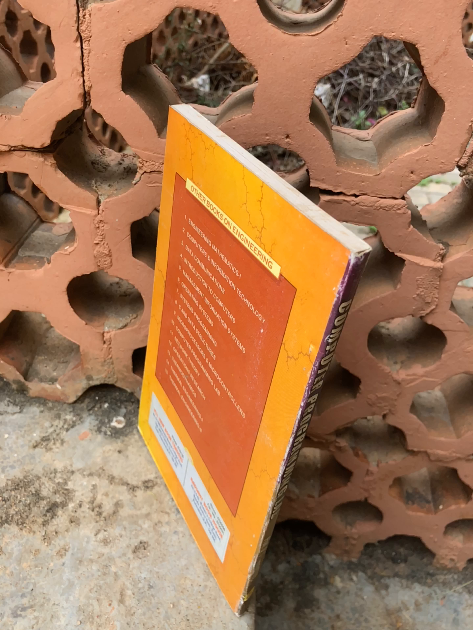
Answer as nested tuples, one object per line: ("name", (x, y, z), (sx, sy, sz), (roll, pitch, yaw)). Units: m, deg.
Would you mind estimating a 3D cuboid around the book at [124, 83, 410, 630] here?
("book", (-0.016, 0.025, 0.298), (0.020, 0.249, 0.181), (-9, 39, -29))
